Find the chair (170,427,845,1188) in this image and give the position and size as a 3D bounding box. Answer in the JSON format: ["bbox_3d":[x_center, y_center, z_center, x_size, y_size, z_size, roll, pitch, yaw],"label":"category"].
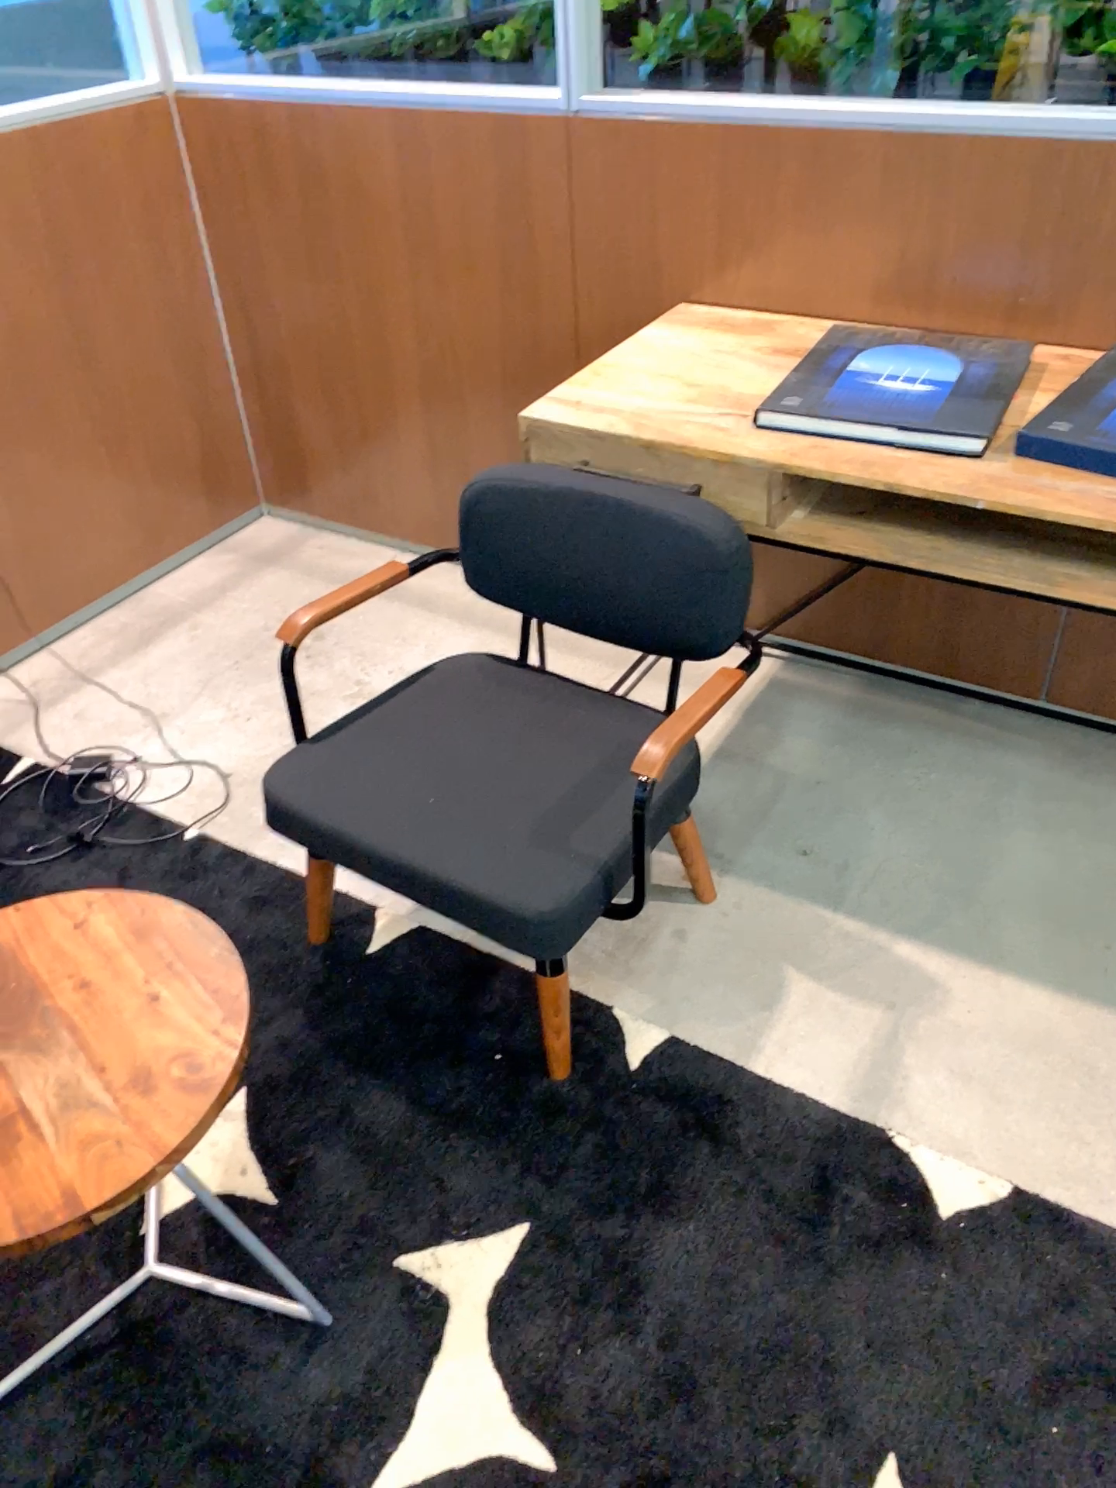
[{"bbox_3d":[-0.042,0.067,1.881,0.753,0.875,0.612,20,43,29],"label":"chair"}]
